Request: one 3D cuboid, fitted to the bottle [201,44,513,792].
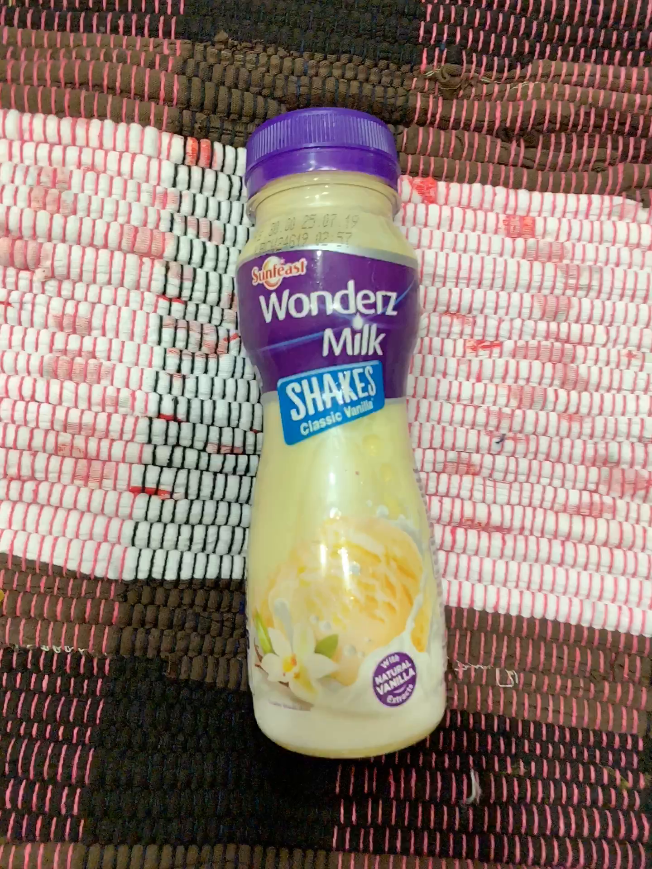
[{"bbox_3d":[0.007,-0.004,0.172,0.060,0.050,0.160,-3,89,1],"label":"bottle"}]
